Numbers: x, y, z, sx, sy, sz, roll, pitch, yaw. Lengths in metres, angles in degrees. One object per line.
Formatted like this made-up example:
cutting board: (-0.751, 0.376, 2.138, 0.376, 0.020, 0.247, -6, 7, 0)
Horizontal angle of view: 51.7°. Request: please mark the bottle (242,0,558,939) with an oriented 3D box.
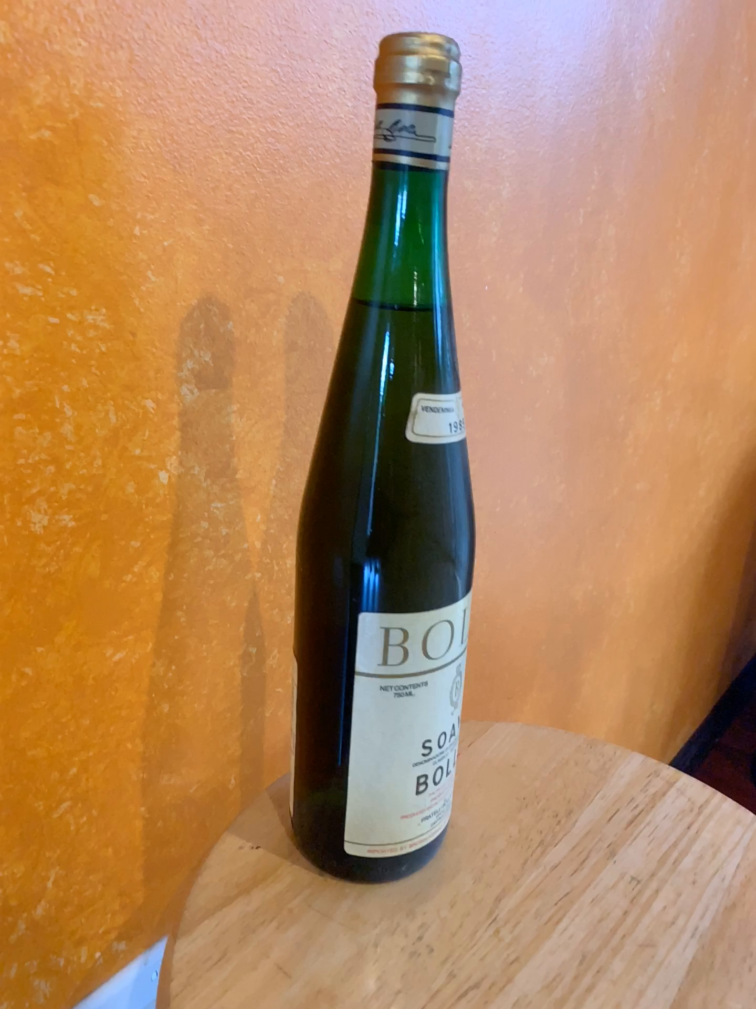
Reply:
bottle: (0.001, 0.000, 0.313, 0.070, 0.338, 0.080, 15, 22, 29)
